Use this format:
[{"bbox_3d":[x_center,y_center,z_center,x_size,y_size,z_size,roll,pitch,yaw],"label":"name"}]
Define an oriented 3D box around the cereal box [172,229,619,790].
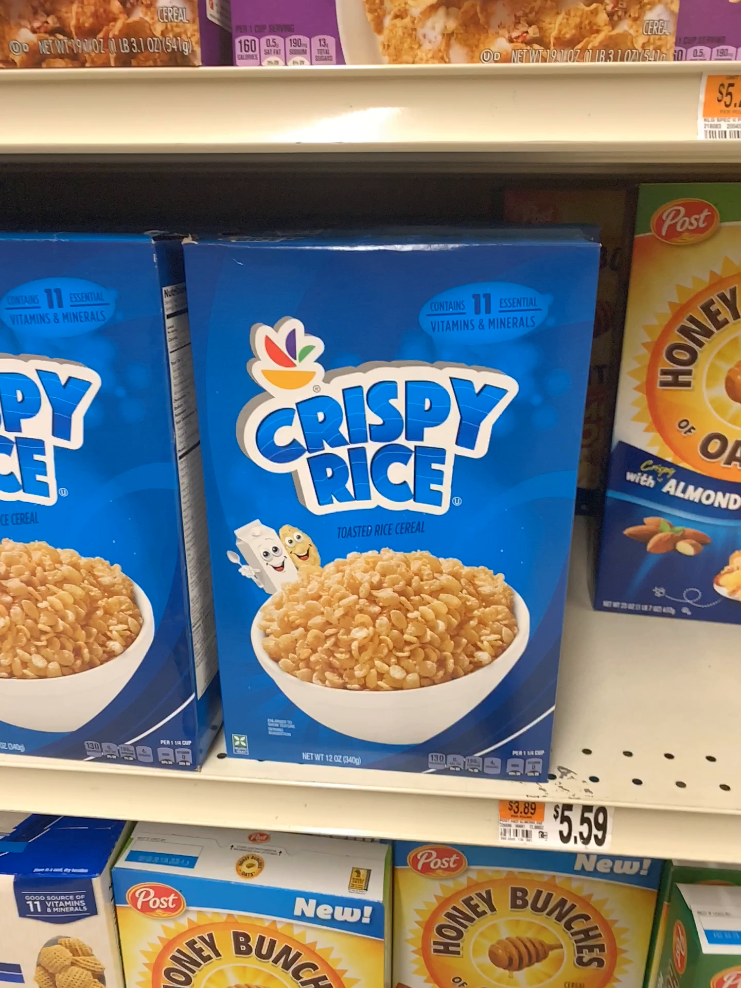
[{"bbox_3d":[0.012,0.015,0.448,0.210,0.318,0.070,2,22,5],"label":"cereal box"}]
